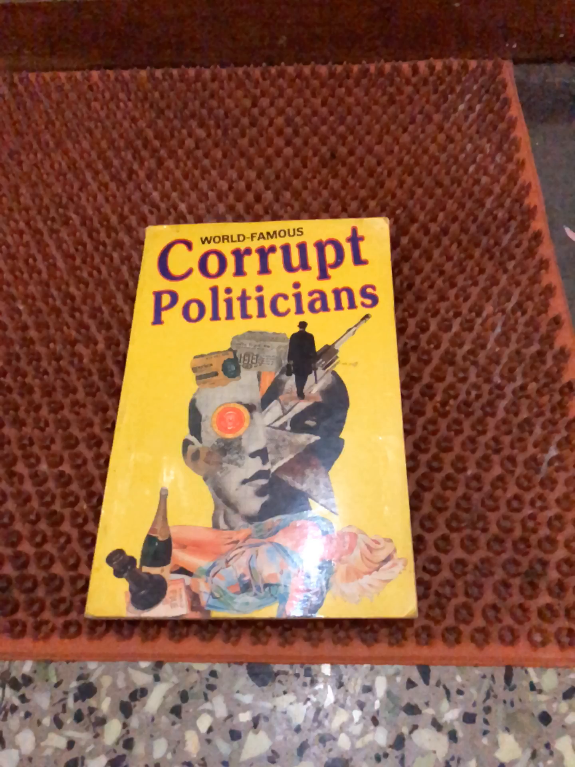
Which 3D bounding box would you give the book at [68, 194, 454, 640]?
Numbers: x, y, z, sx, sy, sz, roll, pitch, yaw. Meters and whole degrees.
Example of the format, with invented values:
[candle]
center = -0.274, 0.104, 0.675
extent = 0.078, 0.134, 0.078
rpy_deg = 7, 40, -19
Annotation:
[book]
center = -0.009, 0.000, 0.312
extent = 0.150, 0.020, 0.231
rpy_deg = 0, 61, 2
